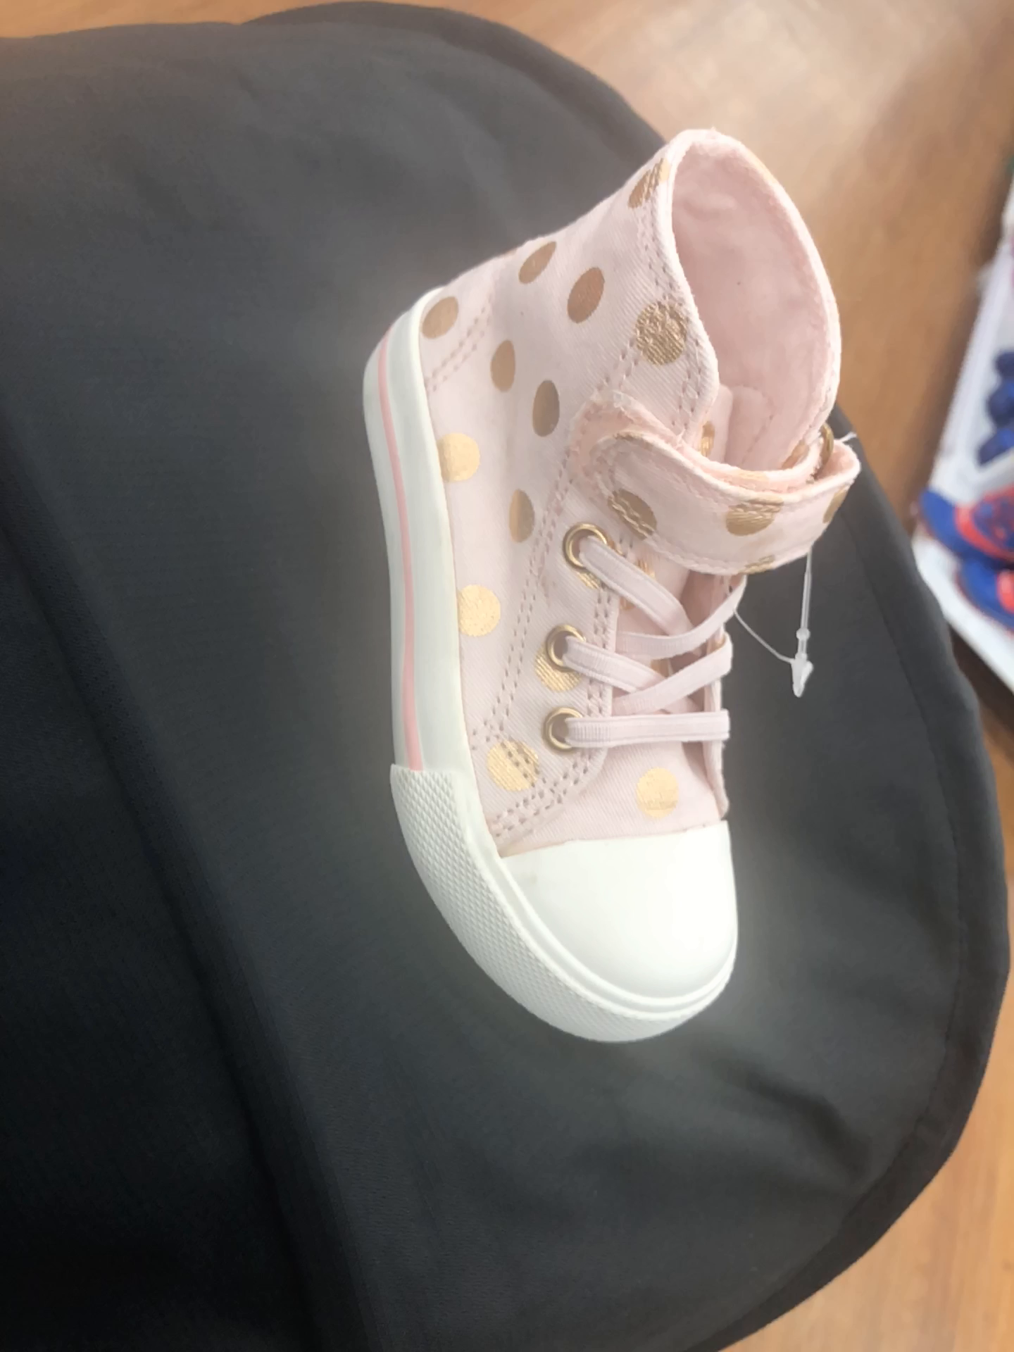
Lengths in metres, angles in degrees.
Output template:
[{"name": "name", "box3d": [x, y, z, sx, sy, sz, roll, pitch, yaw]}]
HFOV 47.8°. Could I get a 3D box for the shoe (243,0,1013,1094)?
[{"name": "shoe", "box3d": [0.024, -0.024, 0.223, 0.080, 0.100, 0.170, -3, 67, -40]}]
